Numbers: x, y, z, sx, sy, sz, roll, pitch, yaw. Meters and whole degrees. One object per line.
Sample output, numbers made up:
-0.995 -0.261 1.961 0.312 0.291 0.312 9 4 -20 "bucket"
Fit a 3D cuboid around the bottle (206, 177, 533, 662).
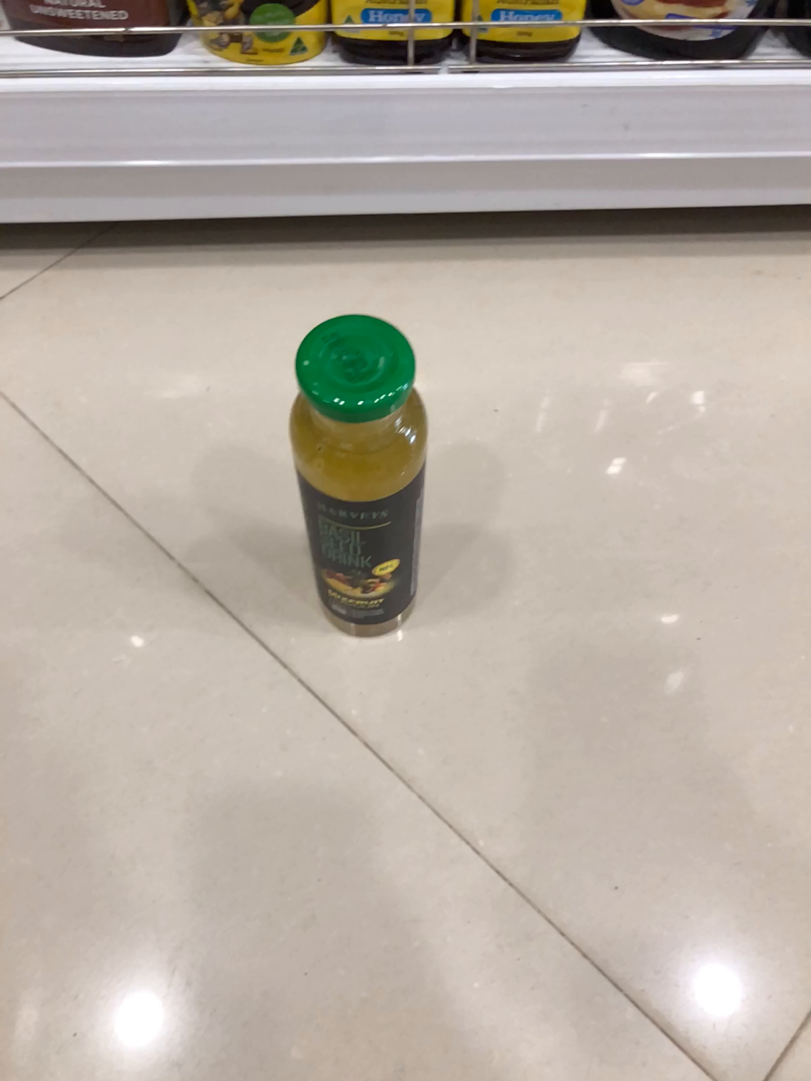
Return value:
-0.012 -0.031 0.359 0.080 0.199 0.070 17 62 7 "bottle"
